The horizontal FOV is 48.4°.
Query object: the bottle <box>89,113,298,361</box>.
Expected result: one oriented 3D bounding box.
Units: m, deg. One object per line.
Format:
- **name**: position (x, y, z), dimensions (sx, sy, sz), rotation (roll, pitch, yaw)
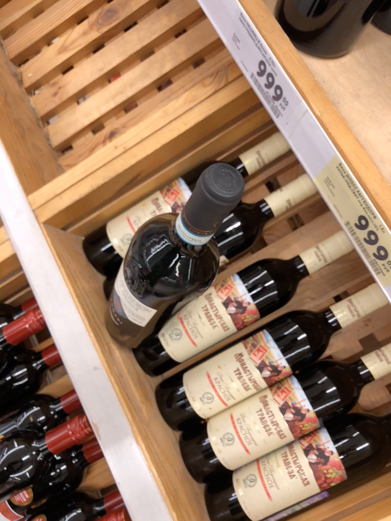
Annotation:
- **bottle**: position (-0.033, 0.008, 0.426), dimensions (0.080, 0.319, 0.090), rotation (-20, 74, -26)
